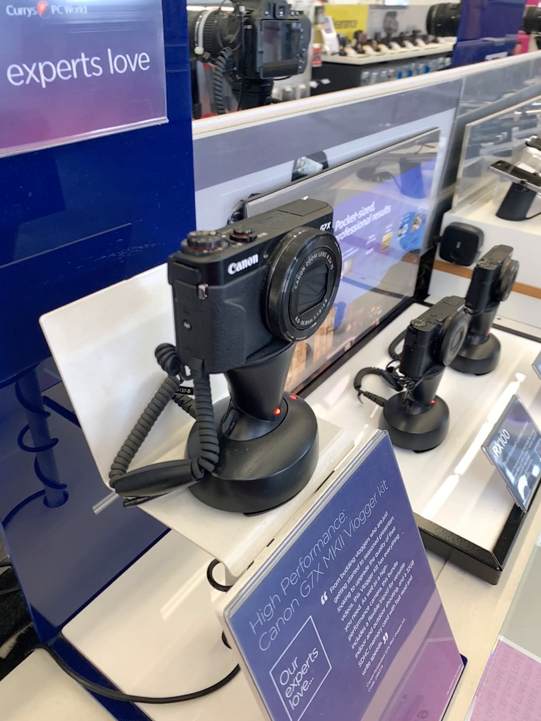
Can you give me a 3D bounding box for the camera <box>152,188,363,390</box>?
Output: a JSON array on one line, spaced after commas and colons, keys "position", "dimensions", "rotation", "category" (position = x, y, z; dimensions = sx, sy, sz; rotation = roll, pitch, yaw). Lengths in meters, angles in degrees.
[{"position": [-0.001, -0.041, 0.276], "dimensions": [0.038, 0.059, 0.109], "rotation": [23, 39, 32], "category": "camera"}]
